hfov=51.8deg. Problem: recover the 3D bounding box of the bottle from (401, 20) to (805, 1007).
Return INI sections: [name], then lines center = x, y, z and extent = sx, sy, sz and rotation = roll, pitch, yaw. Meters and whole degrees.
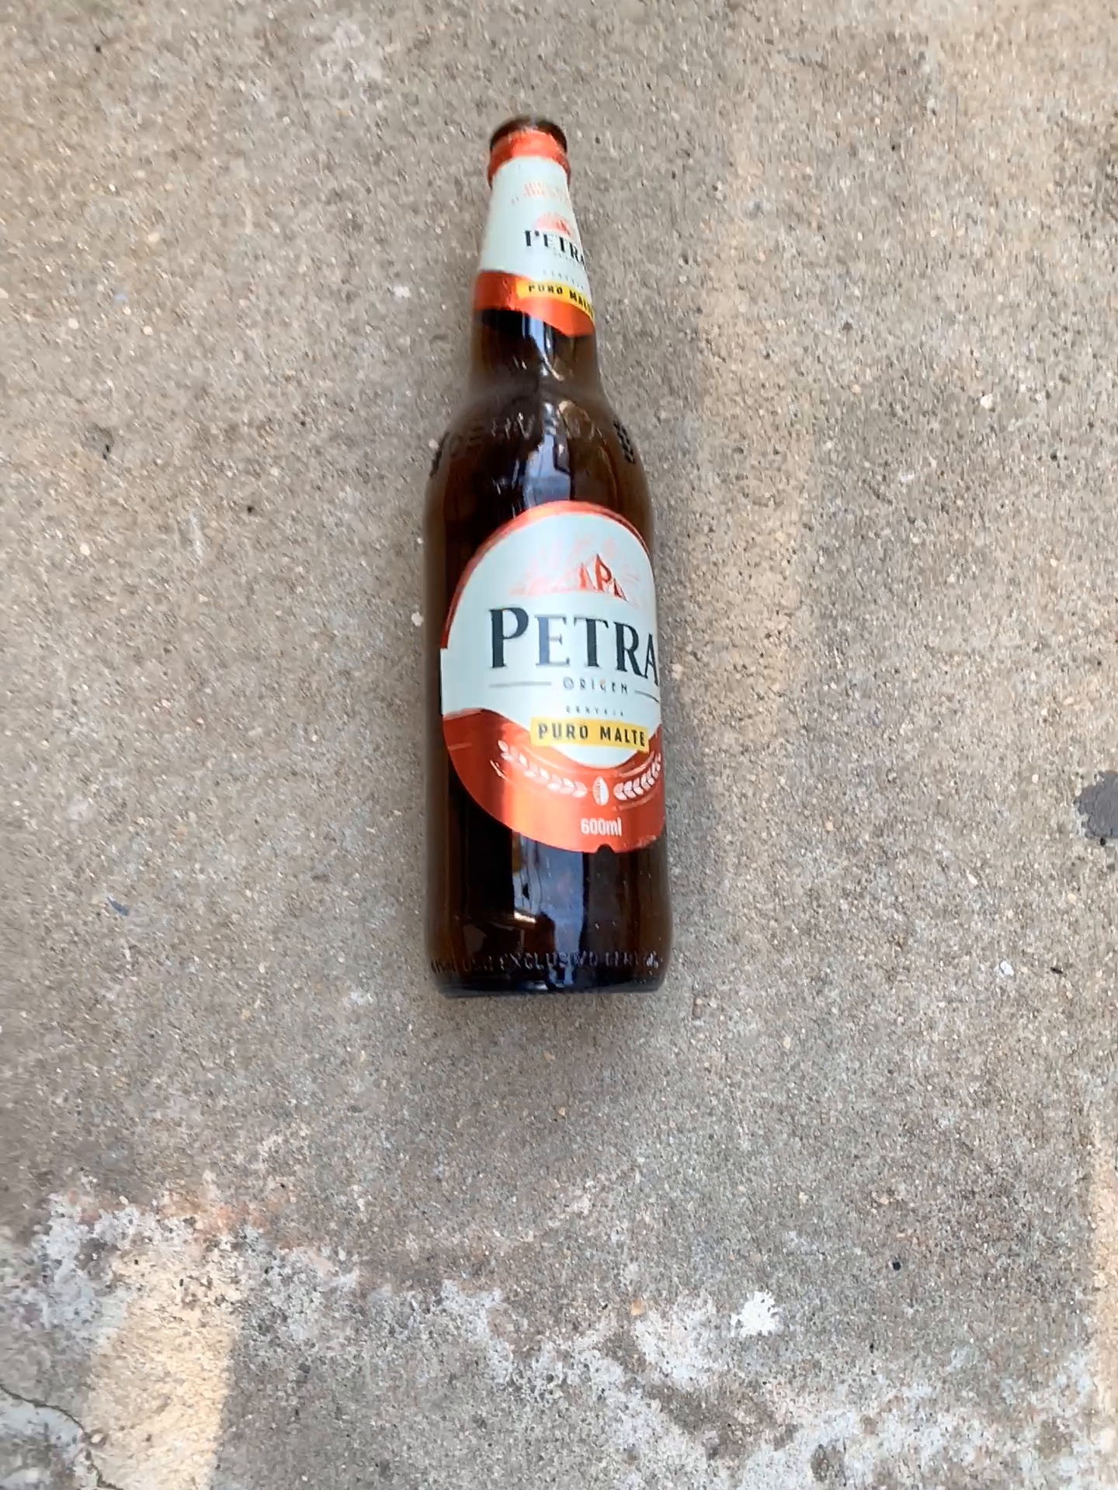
[bottle]
center = 0.007, -0.064, 0.338
extent = 0.080, 0.070, 0.270
rotation = 8, 71, -28
